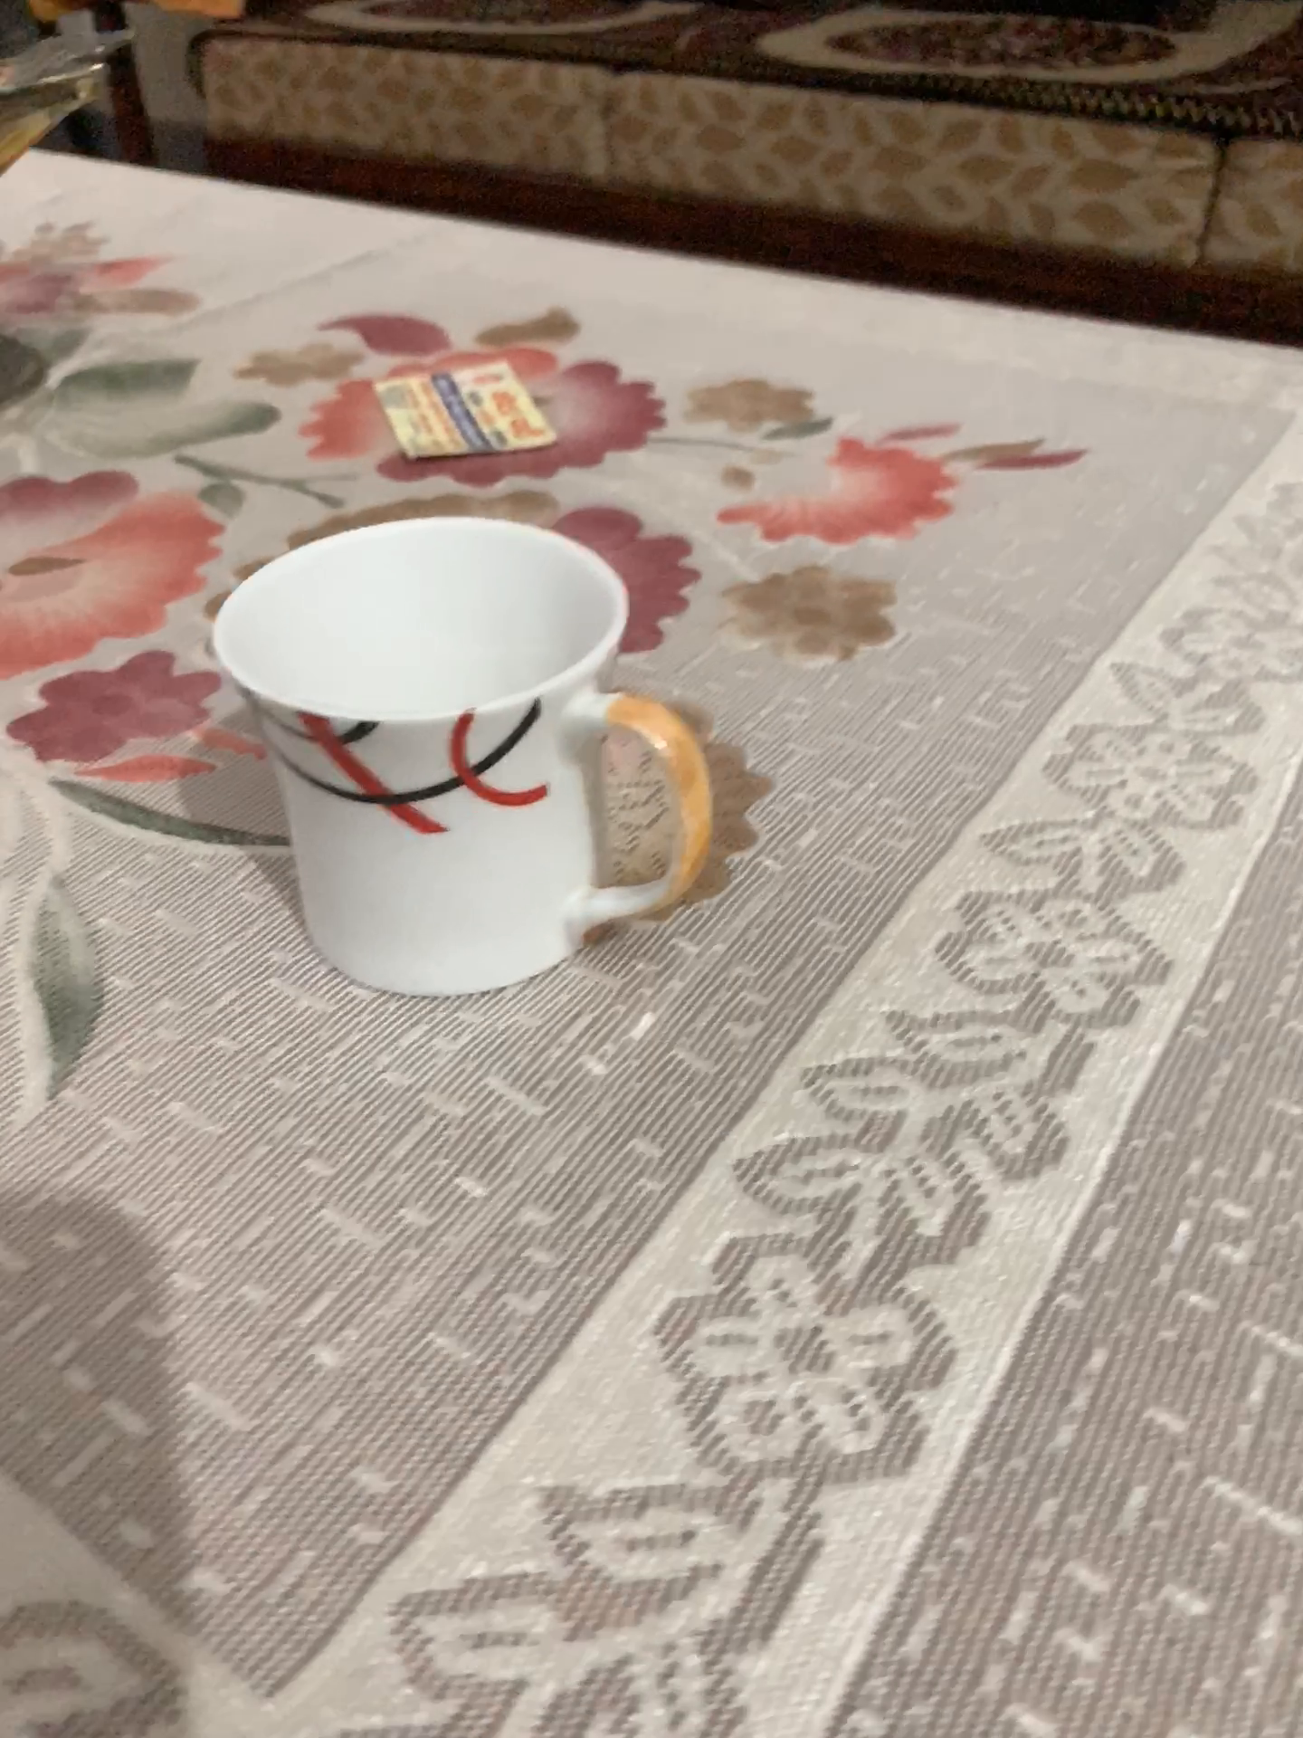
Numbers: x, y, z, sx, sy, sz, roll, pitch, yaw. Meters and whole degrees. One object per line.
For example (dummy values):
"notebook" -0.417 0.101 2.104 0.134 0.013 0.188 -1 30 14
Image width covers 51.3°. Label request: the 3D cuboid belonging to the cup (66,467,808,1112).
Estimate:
"cup" -0.031 -0.019 0.227 0.090 0.060 0.070 17 42 23
